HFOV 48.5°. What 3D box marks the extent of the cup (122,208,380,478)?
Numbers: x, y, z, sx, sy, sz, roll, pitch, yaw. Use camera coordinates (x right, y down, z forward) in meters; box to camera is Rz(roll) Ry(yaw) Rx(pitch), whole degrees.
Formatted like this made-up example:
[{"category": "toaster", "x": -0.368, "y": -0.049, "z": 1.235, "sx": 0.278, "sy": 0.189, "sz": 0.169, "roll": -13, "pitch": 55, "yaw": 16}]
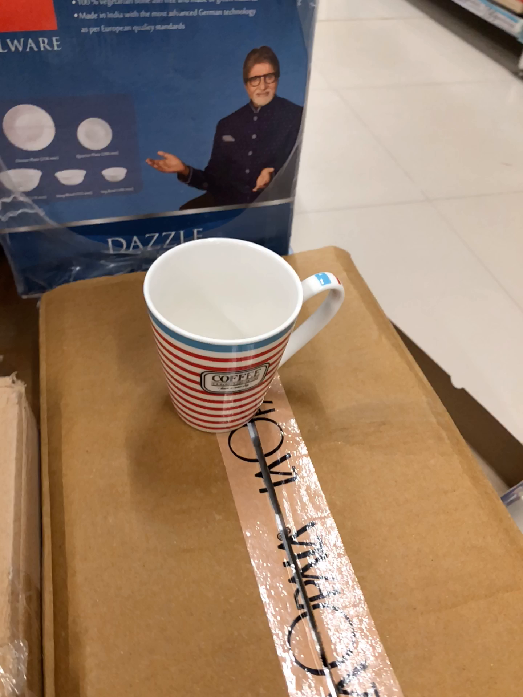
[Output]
[{"category": "cup", "x": -0.010, "y": -0.006, "z": 0.346, "sx": 0.110, "sy": 0.099, "sz": 0.090, "roll": -18, "pitch": 48, "yaw": -21}]
